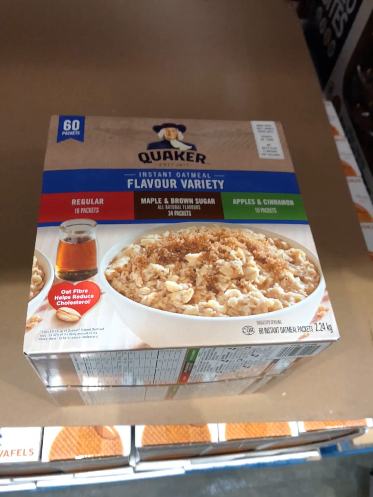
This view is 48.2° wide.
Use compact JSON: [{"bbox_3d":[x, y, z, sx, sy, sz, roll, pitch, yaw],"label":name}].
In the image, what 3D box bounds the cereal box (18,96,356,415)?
[{"bbox_3d":[-0.016,0.012,0.444,0.240,0.199,0.261,-1,59,-9],"label":"cereal box"}]
